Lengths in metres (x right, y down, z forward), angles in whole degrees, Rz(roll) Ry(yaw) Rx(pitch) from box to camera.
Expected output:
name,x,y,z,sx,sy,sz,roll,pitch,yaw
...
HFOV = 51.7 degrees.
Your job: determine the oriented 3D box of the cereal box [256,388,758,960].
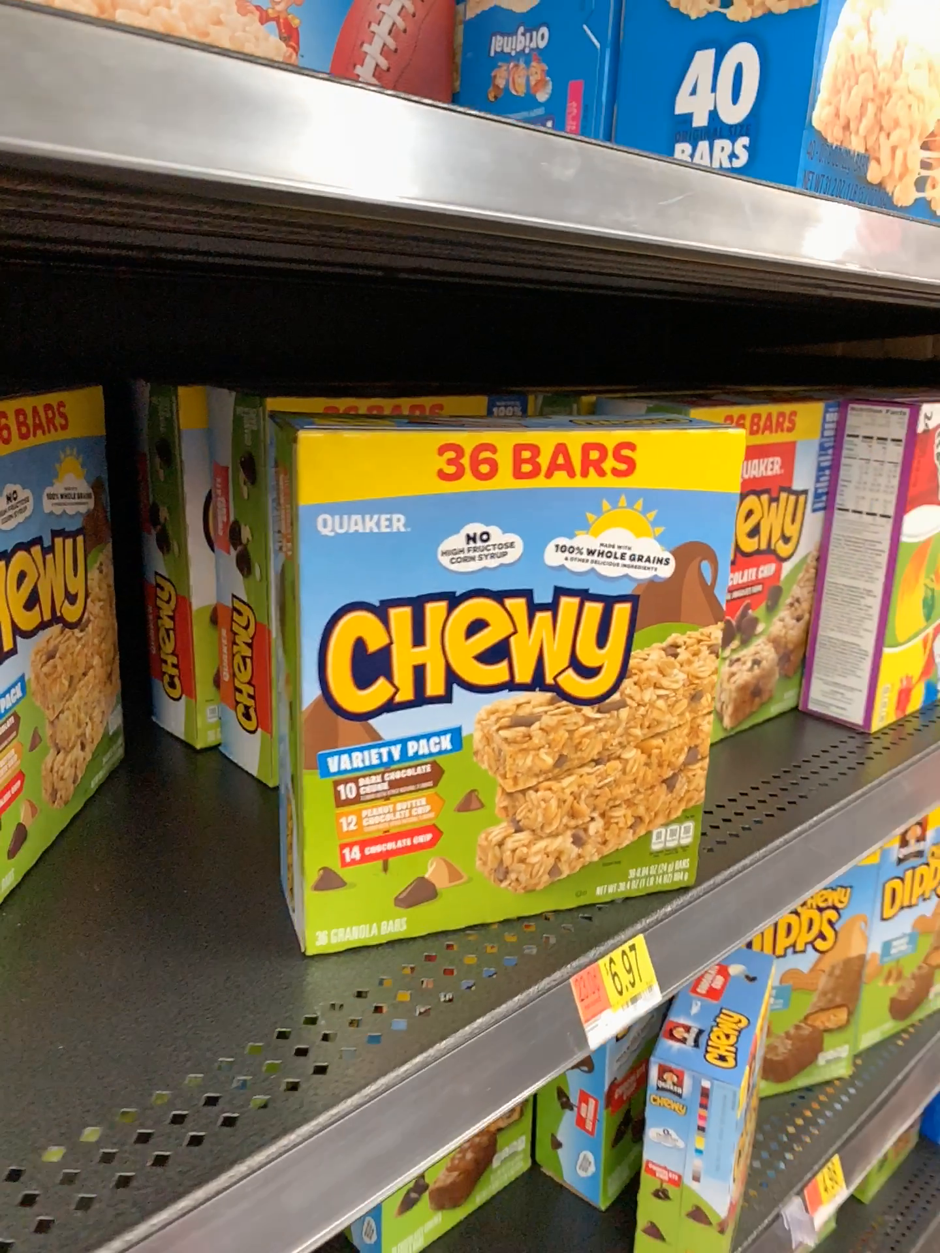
name,x,y,z,sx,sy,sz,roll,pitch,yaw
cereal box,0.011,0.014,0.441,0.200,0.229,0.070,-3,17,-19
